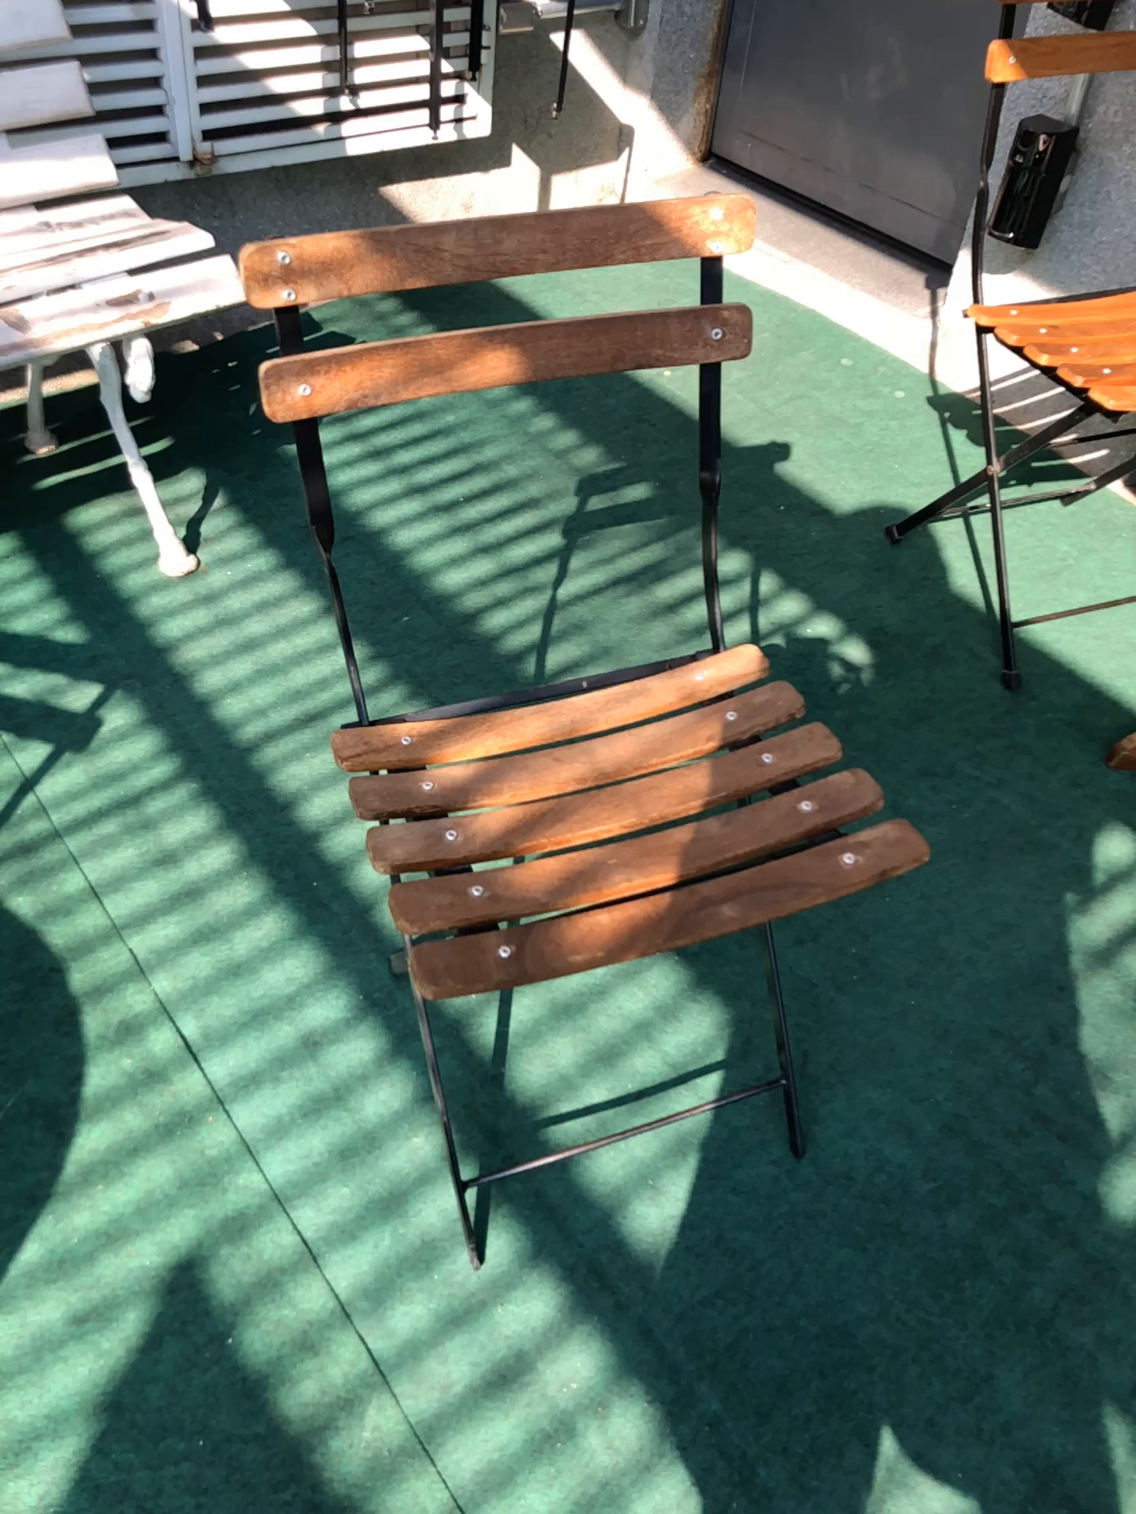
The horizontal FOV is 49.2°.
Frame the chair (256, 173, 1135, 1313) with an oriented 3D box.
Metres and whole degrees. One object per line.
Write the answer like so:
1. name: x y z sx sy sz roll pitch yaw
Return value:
1. chair: 0.050 0.007 0.894 0.391 0.655 0.403 -12 46 -16
